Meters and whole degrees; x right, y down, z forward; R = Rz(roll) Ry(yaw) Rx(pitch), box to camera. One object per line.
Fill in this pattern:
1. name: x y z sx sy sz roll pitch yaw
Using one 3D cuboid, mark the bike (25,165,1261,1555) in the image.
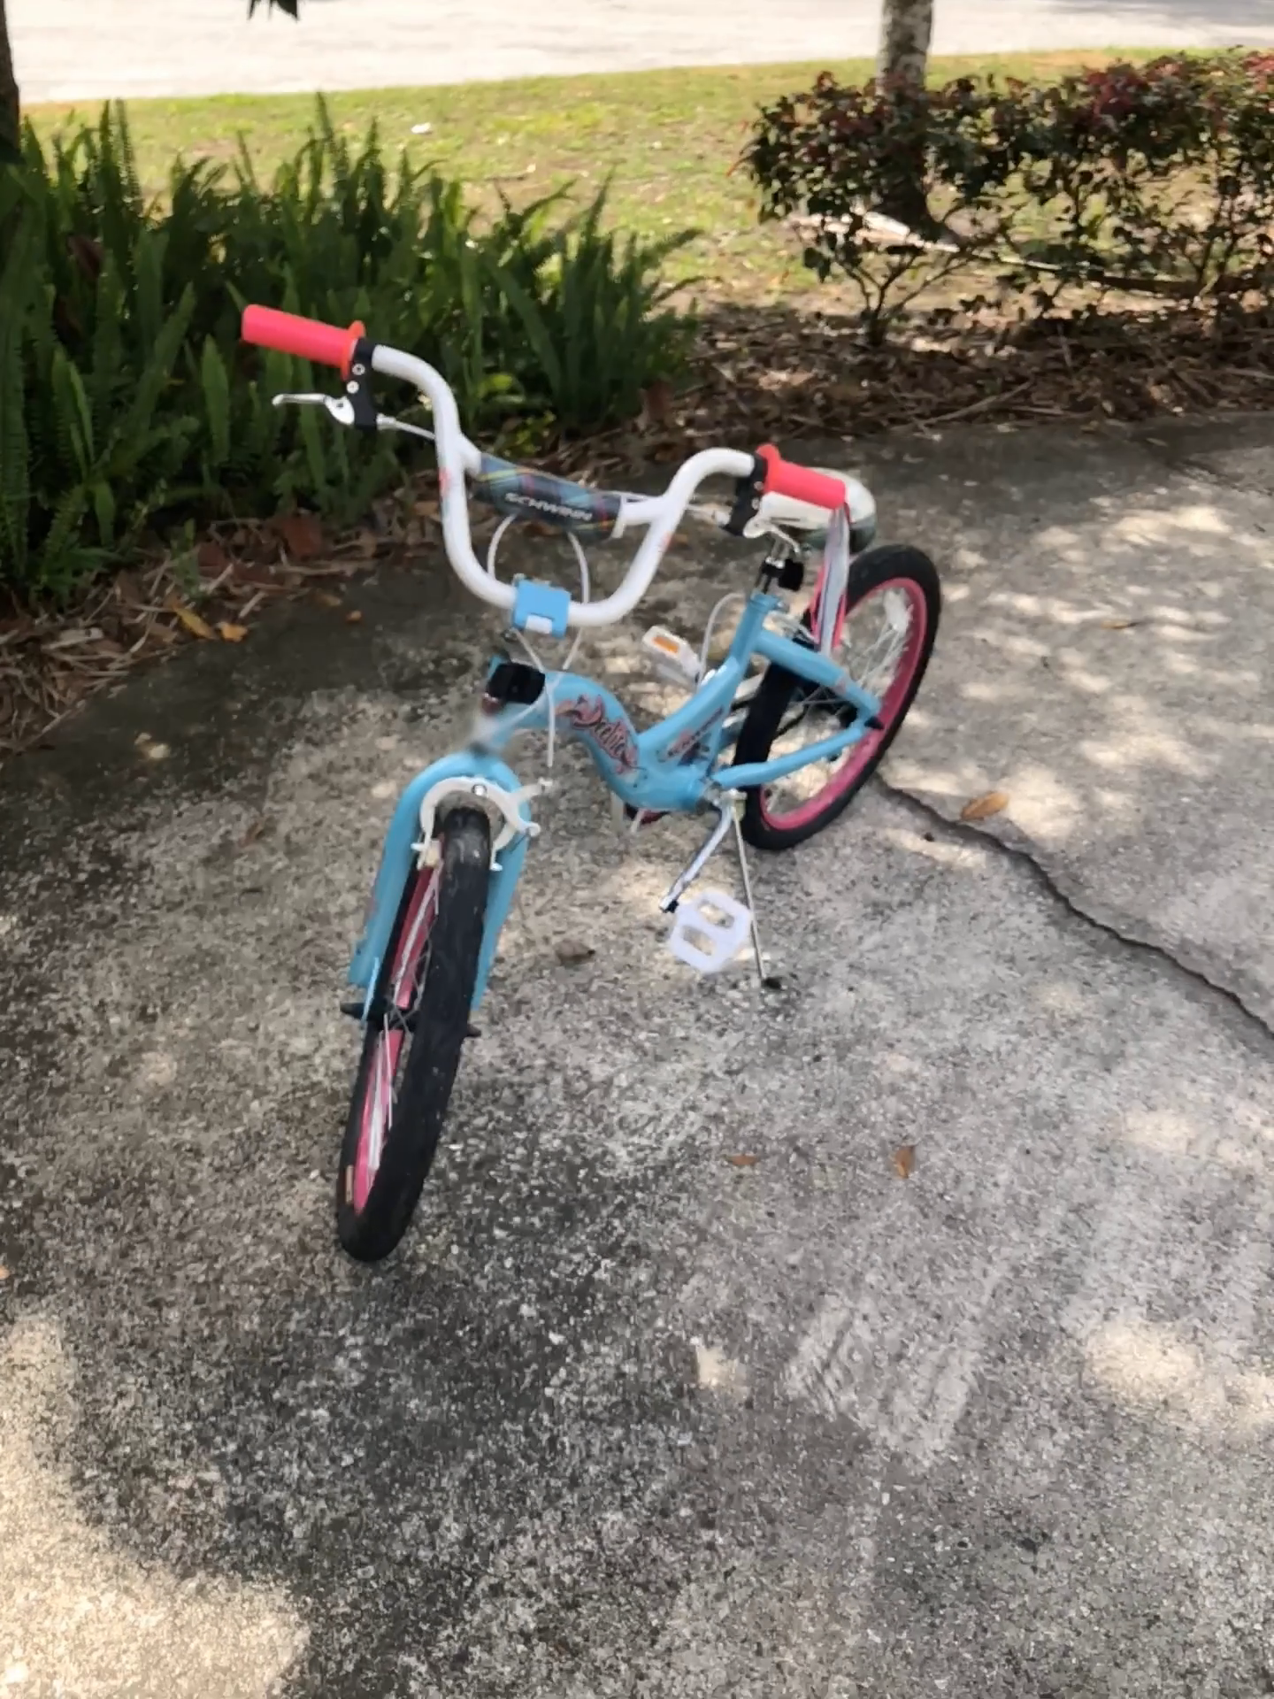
1. bike: 0.146 -0.186 1.635 0.700 0.923 1.314 19 38 26
